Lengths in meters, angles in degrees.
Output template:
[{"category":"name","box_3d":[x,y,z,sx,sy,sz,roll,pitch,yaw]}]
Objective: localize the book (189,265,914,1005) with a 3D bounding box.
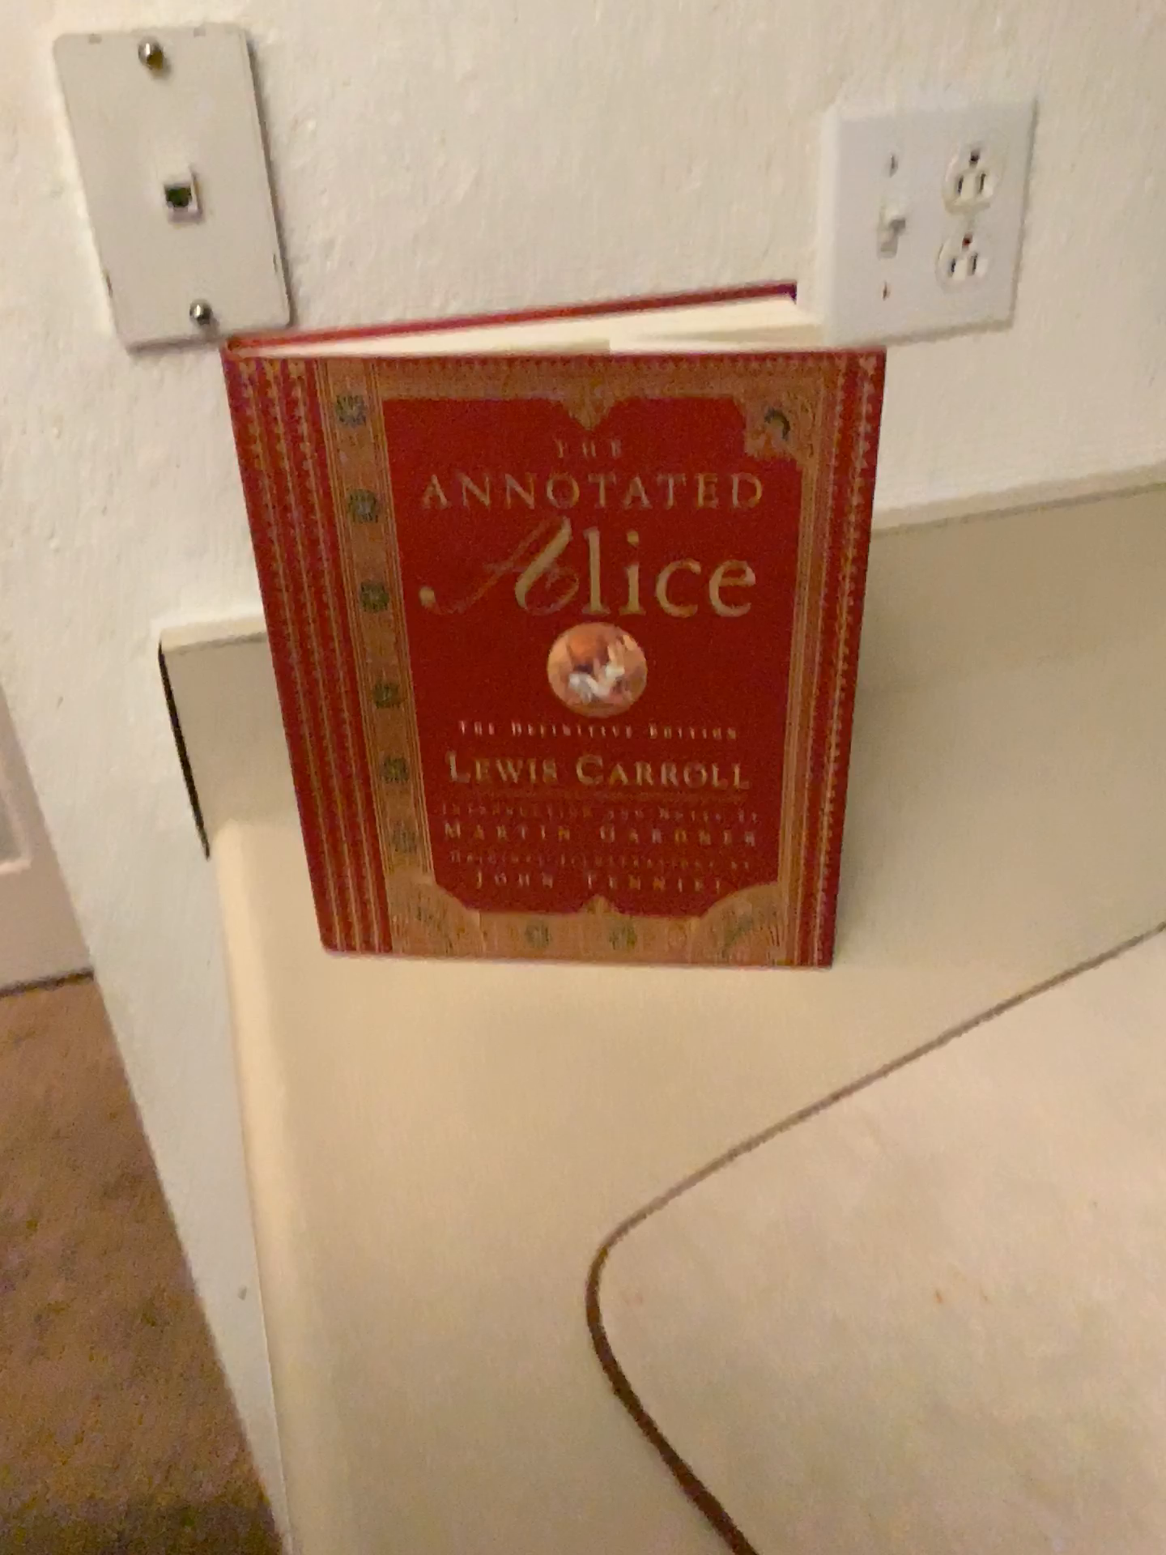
[{"category":"book","box_3d":[-0.004,-0.057,0.542,0.230,0.260,0.150,-2,32,2]}]
